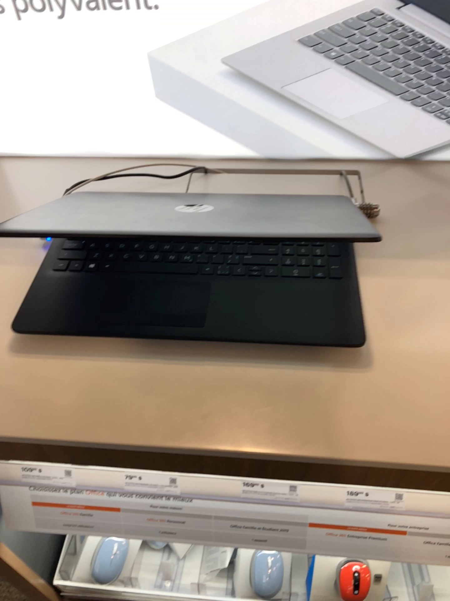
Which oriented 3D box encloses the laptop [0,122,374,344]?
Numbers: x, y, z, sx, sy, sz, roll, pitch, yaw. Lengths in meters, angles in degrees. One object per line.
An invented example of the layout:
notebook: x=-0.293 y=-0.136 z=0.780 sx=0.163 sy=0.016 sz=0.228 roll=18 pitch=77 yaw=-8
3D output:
laptop: x=-0.037 y=-0.089 z=0.550 sx=0.351 sy=0.107 sz=0.239 roll=2 pitch=47 yaw=6
